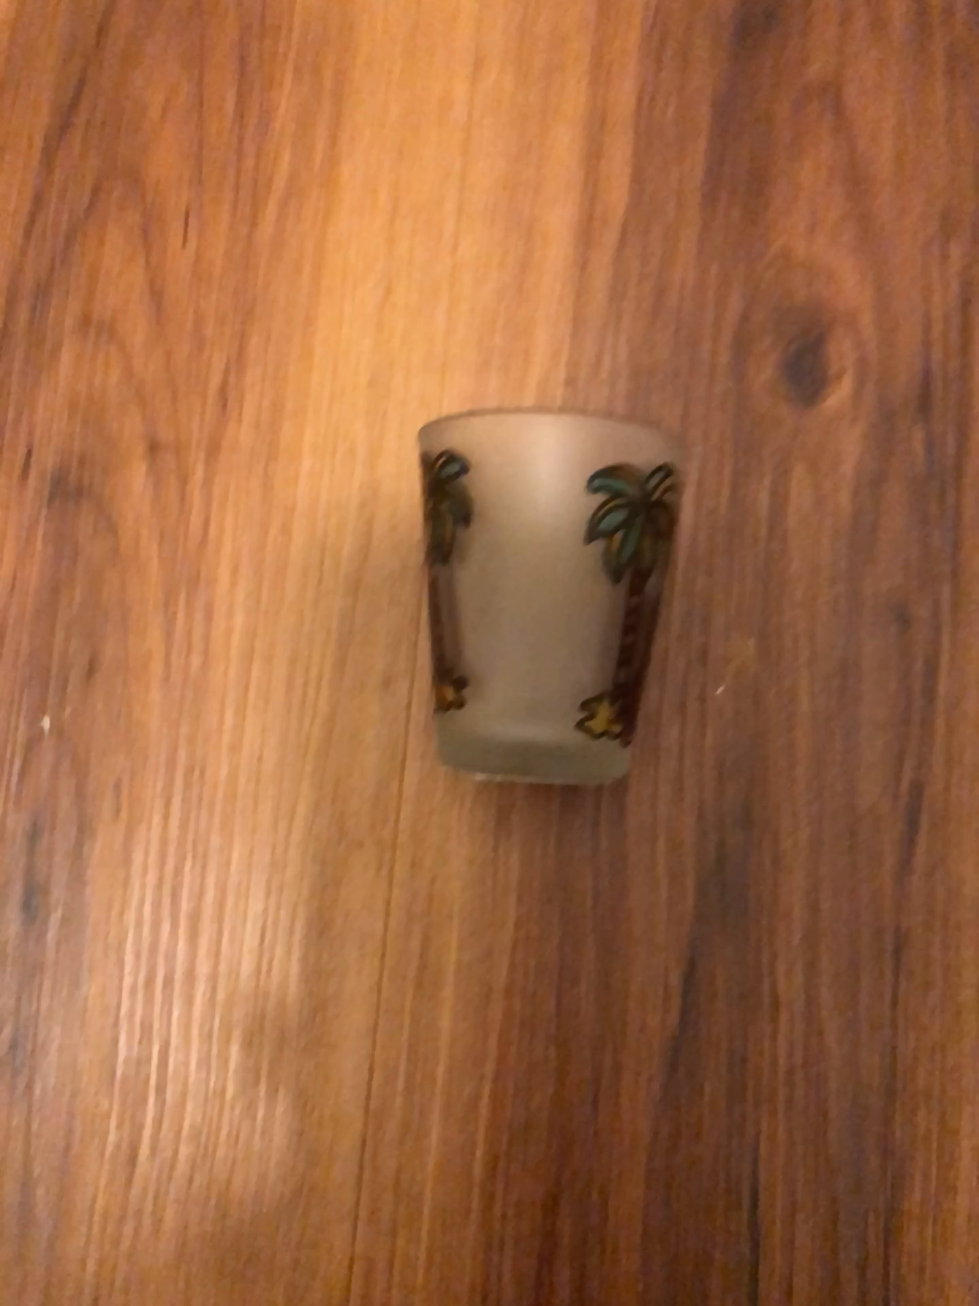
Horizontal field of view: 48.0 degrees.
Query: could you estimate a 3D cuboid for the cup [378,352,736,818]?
[{"bbox_3d":[0.013,-0.009,0.192,0.050,0.045,0.070,4,82,5],"label":"cup"}]
